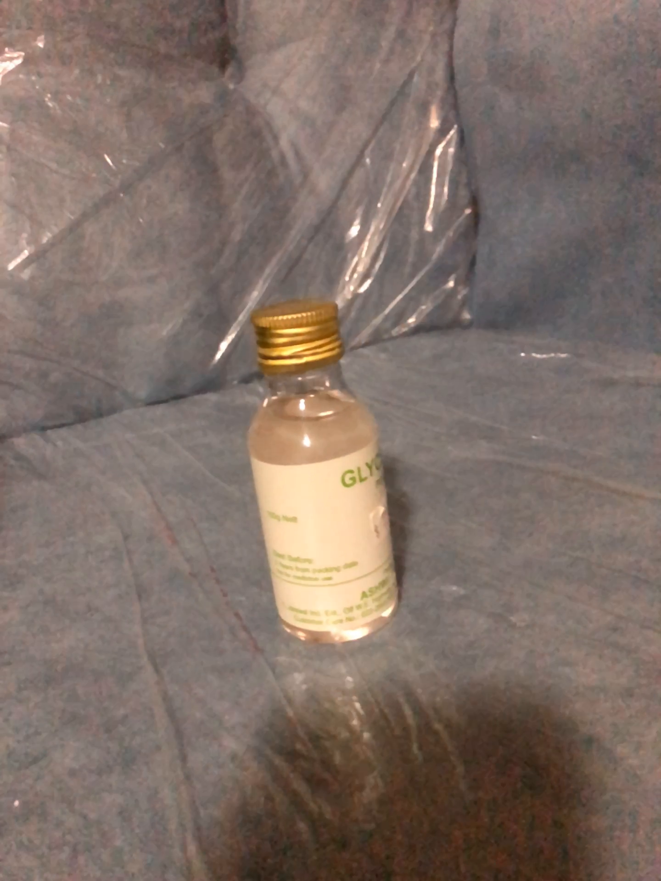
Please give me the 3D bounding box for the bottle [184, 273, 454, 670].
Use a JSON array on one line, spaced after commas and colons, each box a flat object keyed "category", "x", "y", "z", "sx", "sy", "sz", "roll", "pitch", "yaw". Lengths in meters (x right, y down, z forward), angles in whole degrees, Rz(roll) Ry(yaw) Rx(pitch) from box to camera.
[{"category": "bottle", "x": 0.002, "y": 0.007, "z": 0.218, "sx": 0.050, "sy": 0.100, "sz": 0.050, "roll": -7, "pitch": 22, "yaw": 3}]
